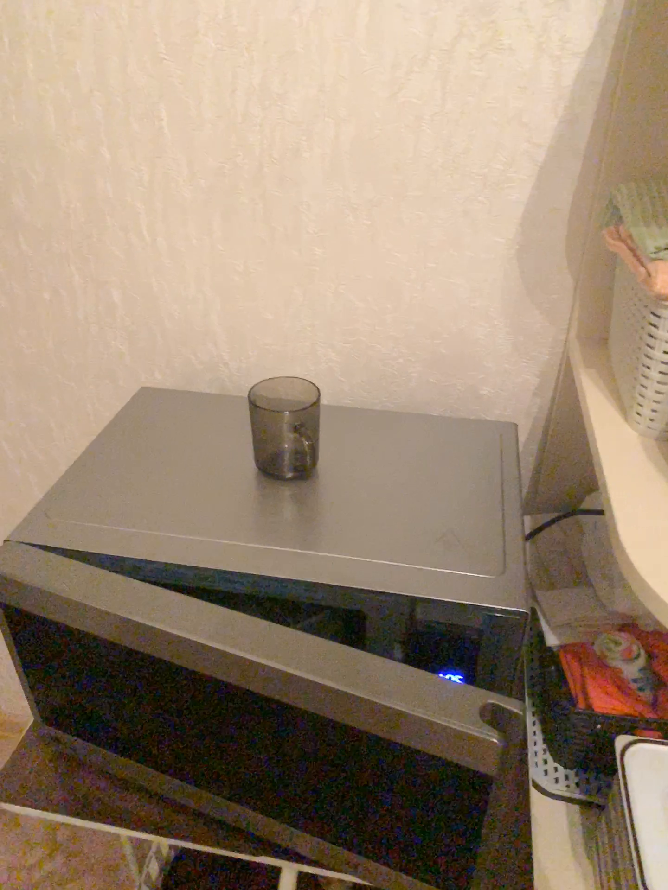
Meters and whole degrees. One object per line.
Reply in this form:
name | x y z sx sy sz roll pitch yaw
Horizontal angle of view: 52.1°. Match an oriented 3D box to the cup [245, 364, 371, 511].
cup | -0.026 -0.011 0.686 0.078 0.094 0.102 -23 39 -31
